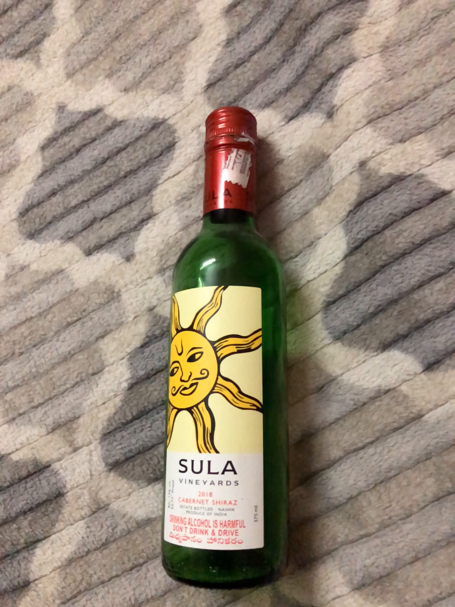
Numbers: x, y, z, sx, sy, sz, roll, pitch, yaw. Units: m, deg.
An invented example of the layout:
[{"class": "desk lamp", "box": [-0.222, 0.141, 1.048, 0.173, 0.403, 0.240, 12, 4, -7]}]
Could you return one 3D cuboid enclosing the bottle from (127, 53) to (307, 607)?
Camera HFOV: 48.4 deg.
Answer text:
[{"class": "bottle", "box": [0.000, 0.012, 0.229, 0.060, 0.050, 0.230, -3, 79, 20]}]
